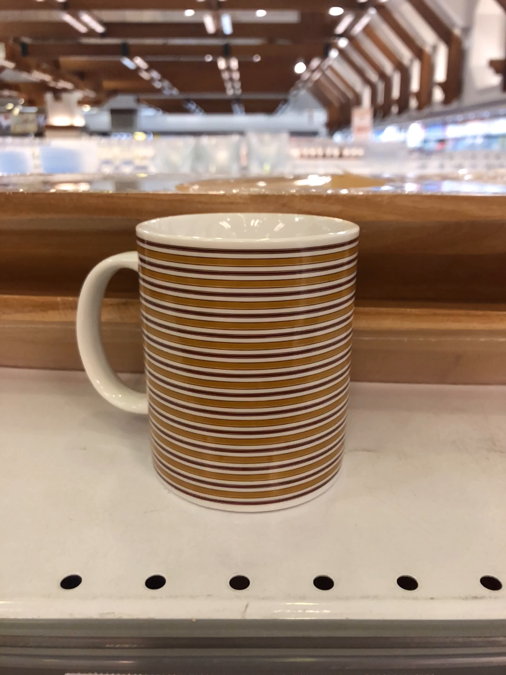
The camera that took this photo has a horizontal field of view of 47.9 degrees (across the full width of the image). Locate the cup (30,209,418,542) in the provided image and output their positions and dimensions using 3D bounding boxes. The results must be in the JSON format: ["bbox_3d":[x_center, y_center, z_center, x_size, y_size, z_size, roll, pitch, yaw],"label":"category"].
[{"bbox_3d":[-0.010,0.000,0.234,0.120,0.090,0.090,12,21,32],"label":"cup"}]
